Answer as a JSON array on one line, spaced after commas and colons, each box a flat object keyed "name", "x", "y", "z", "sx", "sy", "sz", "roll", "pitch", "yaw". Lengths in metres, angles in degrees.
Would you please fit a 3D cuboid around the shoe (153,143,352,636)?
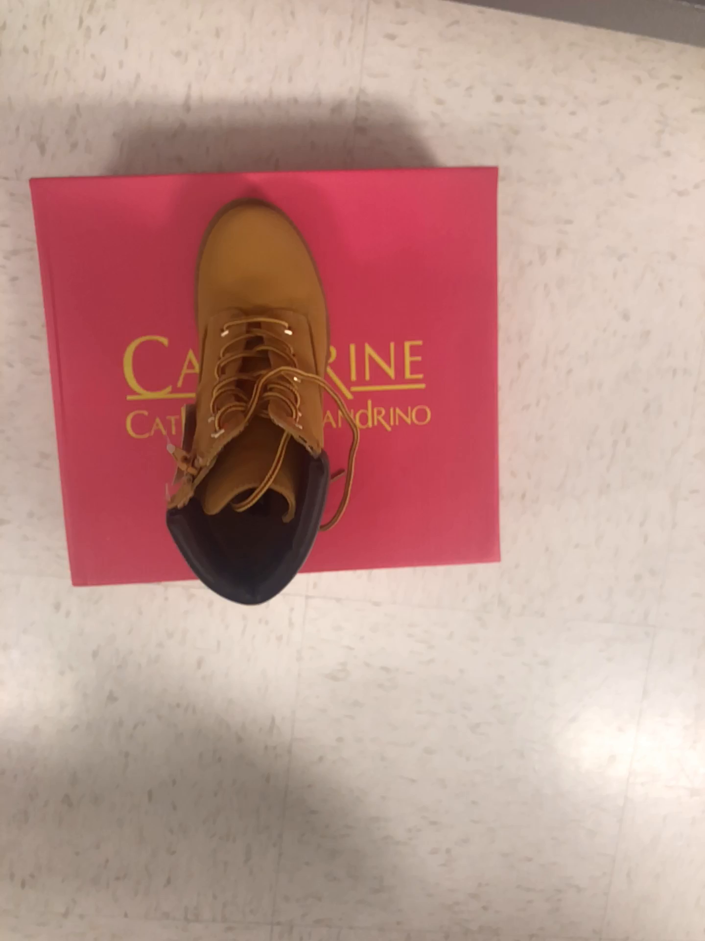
[{"name": "shoe", "x": -0.053, "y": -0.042, "z": 0.435, "sx": 0.085, "sy": 0.170, "sz": 0.217, "roll": 1, "pitch": 98, "yaw": -5}]
